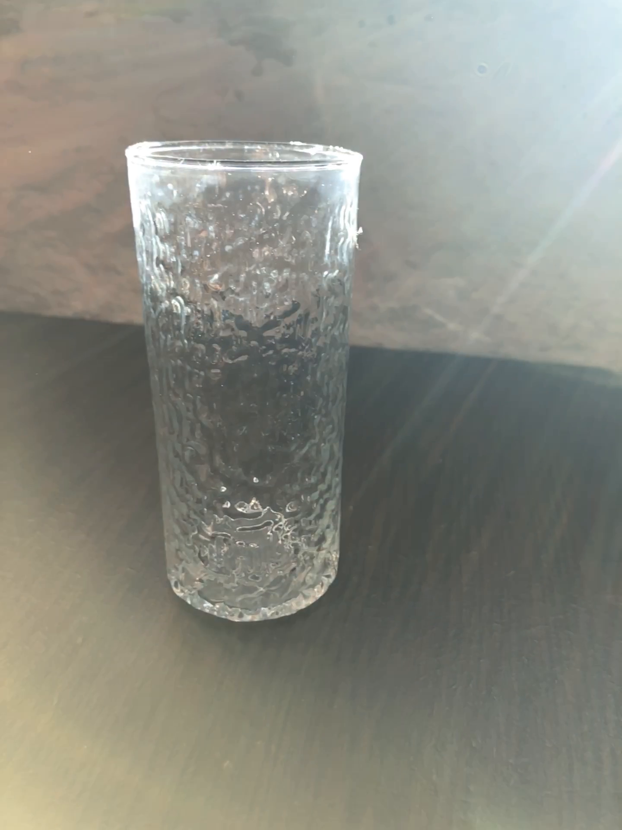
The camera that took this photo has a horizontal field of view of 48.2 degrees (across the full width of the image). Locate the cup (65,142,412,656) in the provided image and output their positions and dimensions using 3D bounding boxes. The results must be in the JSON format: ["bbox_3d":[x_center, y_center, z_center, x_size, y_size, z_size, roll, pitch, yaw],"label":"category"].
[{"bbox_3d":[-0.016,-0.010,0.211,0.070,0.131,0.068,2,23,-1],"label":"cup"}]
